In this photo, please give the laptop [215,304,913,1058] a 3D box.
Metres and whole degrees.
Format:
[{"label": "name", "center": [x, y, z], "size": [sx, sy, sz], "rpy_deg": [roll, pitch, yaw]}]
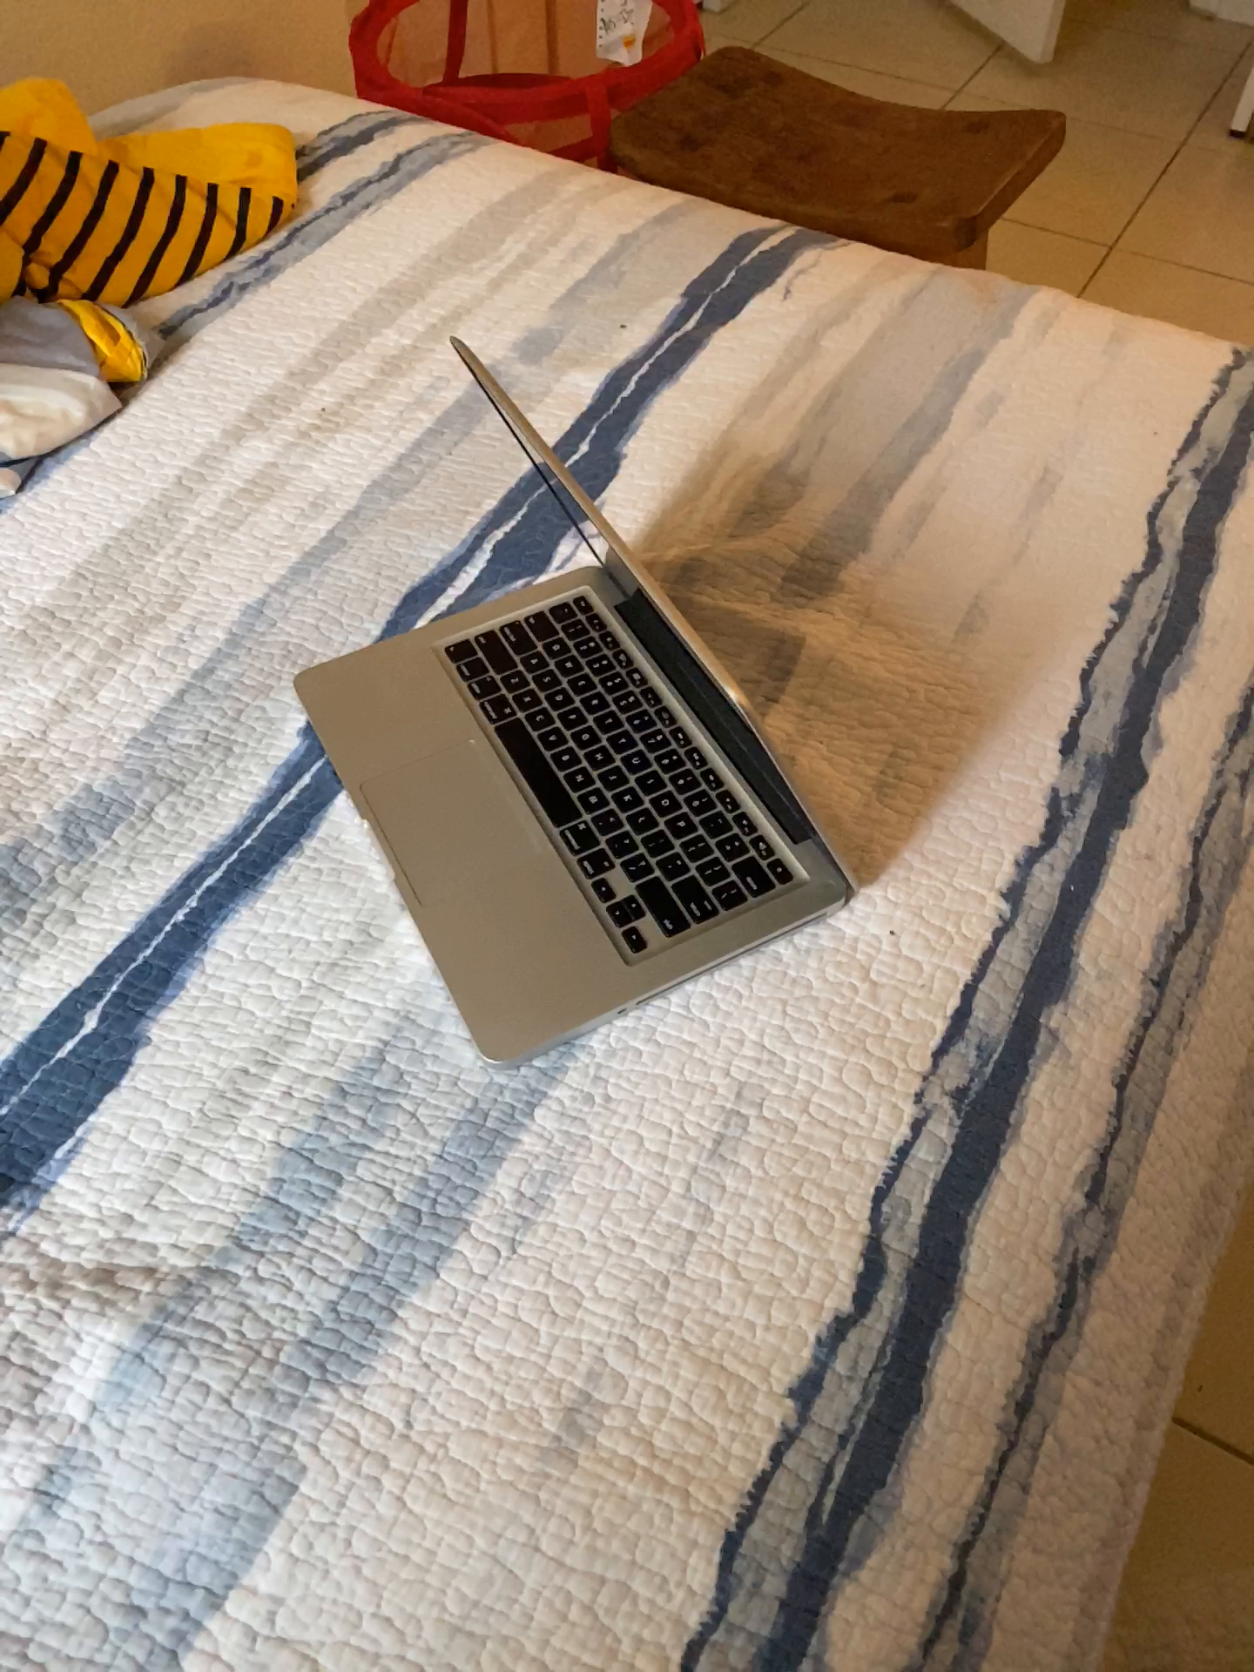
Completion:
[{"label": "laptop", "center": [-0.046, -0.095, 0.695], "size": [0.220, 0.191, 0.316], "rpy_deg": [-23, 55, -15]}]
